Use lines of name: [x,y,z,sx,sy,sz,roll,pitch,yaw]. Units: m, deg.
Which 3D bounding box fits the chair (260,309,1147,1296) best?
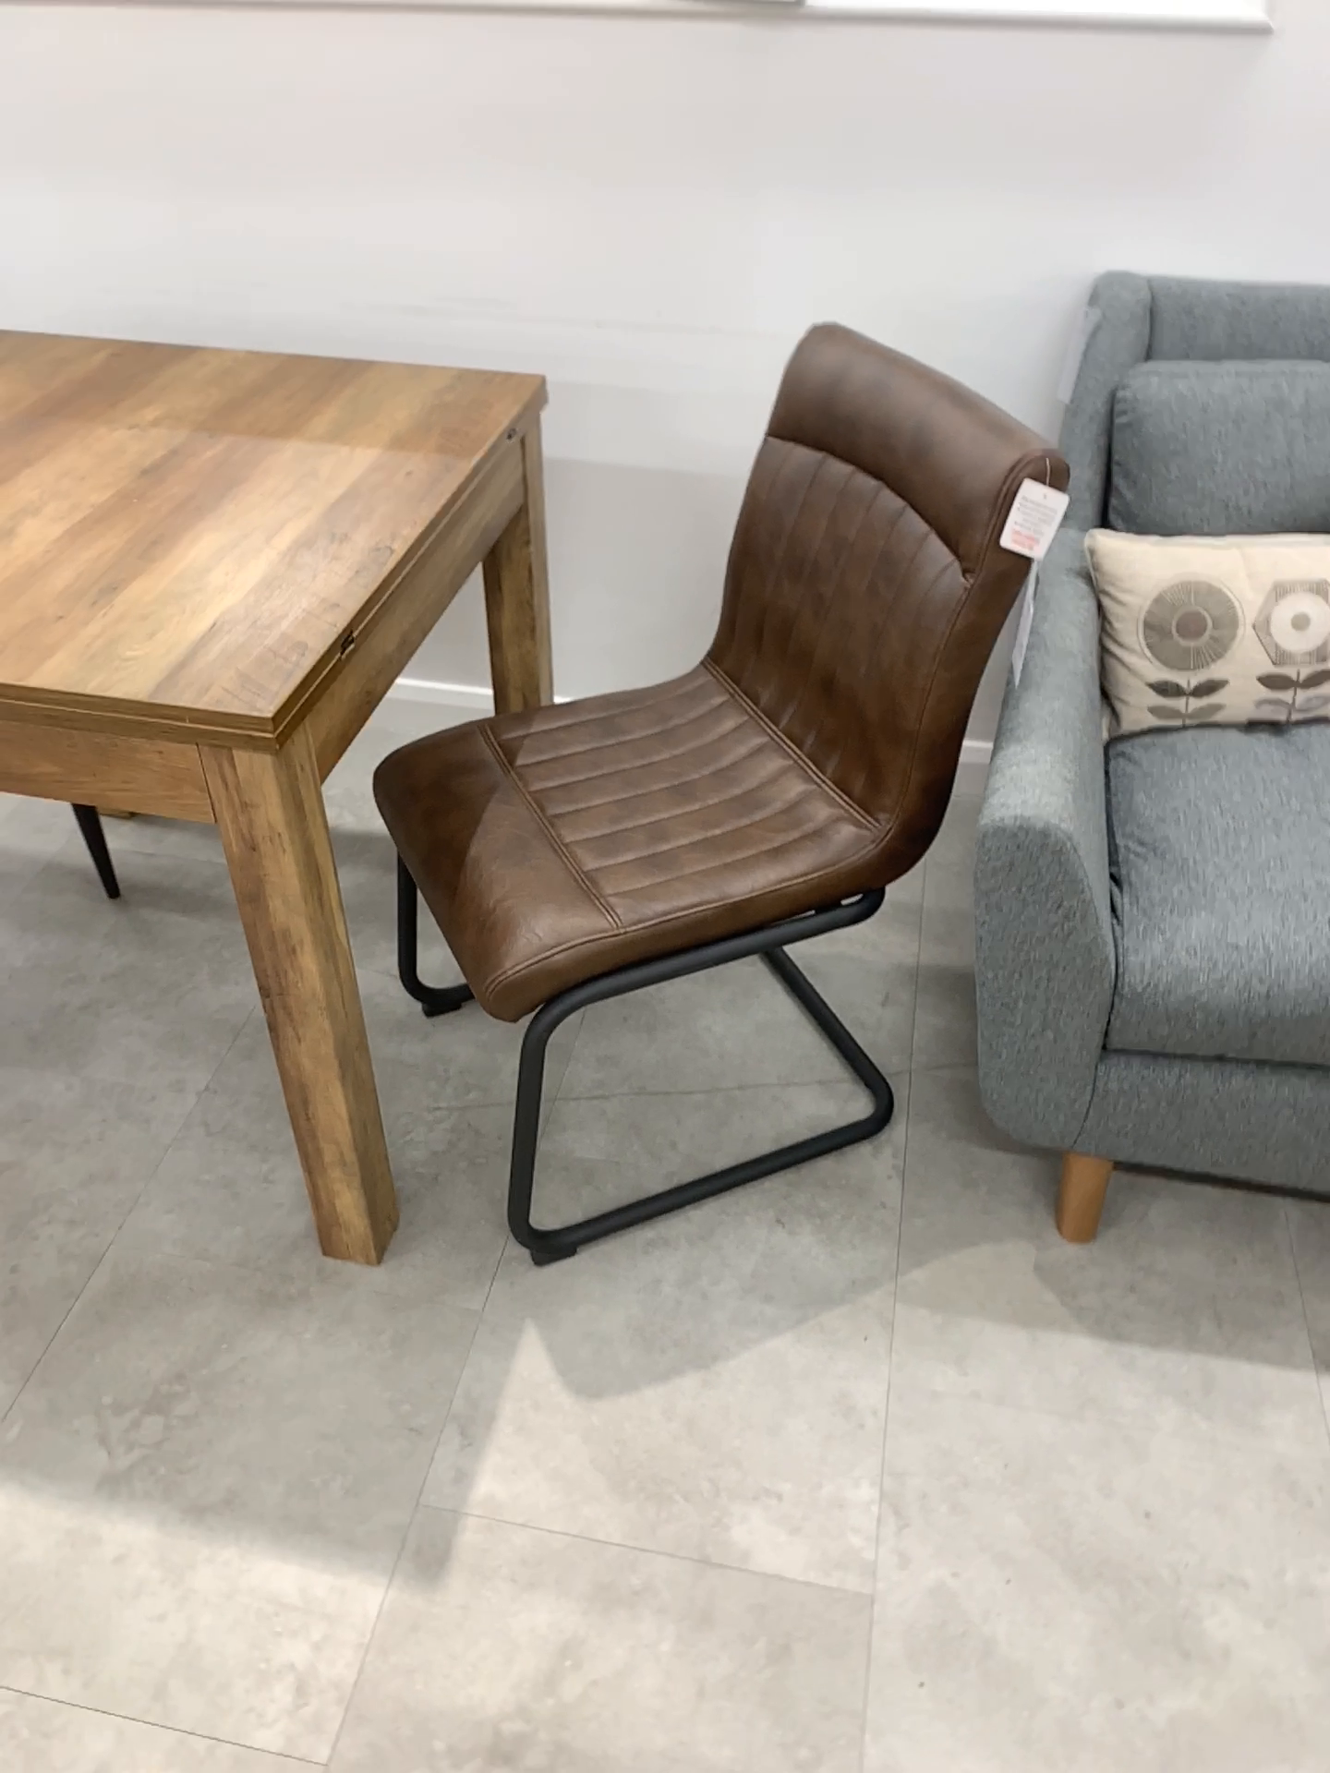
chair: [0.008,-0.102,1.441,0.632,0.773,0.502,-15,42,-18]
